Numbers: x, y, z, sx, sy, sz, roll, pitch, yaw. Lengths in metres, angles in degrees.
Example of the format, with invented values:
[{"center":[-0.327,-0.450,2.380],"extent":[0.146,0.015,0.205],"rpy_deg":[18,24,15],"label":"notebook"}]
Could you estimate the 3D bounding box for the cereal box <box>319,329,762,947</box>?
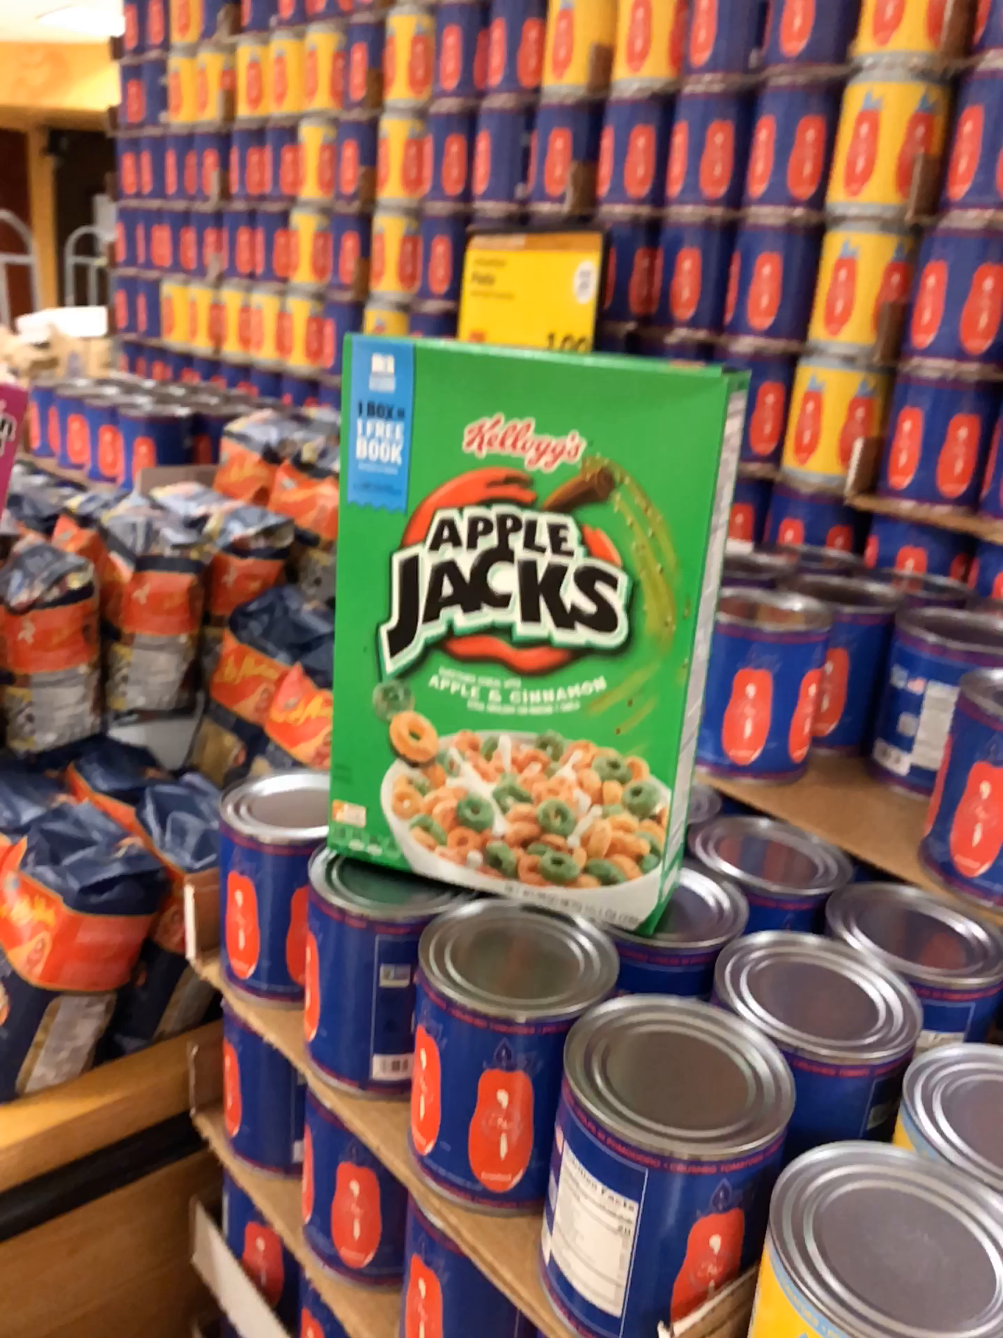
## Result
[{"center":[0.011,-0.020,0.588],"extent":[0.200,0.288,0.060],"rpy_deg":[11,19,18],"label":"cereal box"}]
